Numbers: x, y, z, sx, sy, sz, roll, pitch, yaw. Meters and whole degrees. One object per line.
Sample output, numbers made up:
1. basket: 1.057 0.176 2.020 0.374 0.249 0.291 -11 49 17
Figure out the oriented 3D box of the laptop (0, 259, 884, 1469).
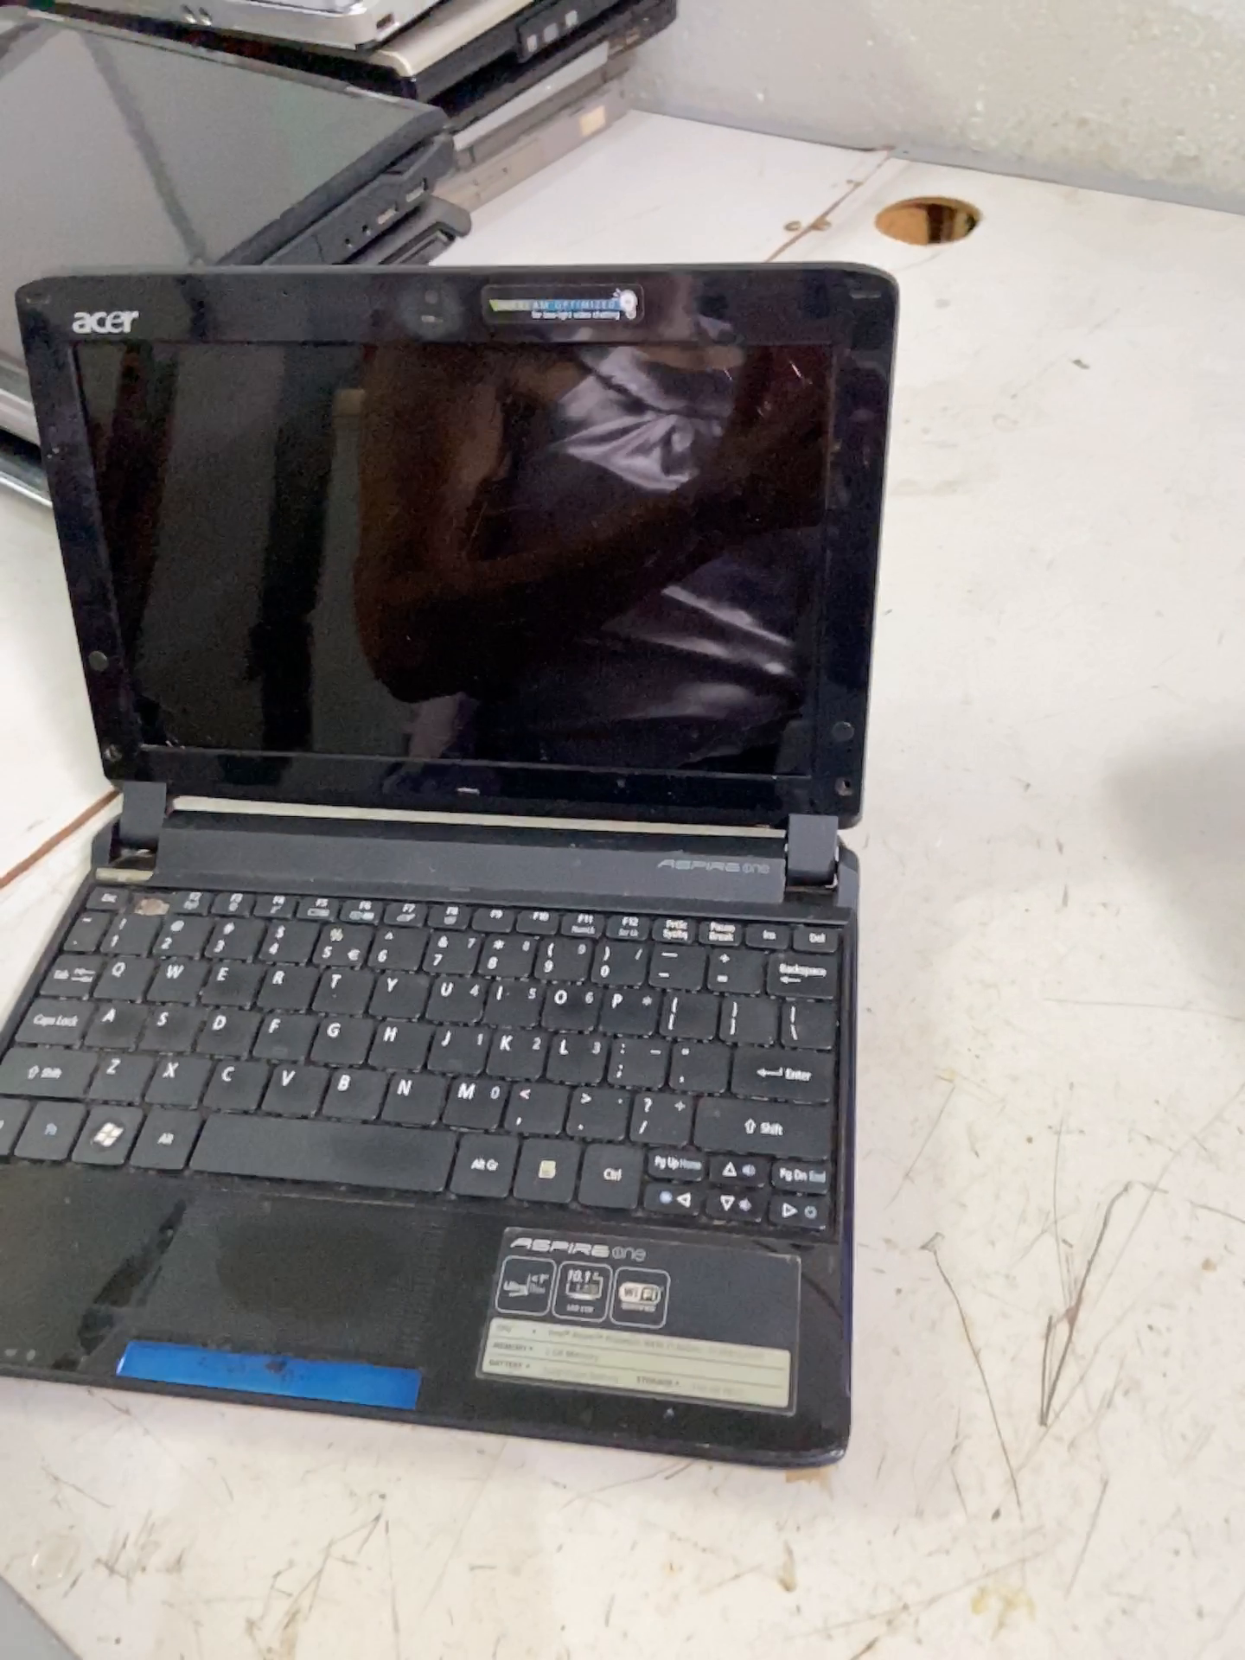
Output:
1. laptop: -0.065 -0.010 0.335 0.252 0.144 0.261 3 51 10
